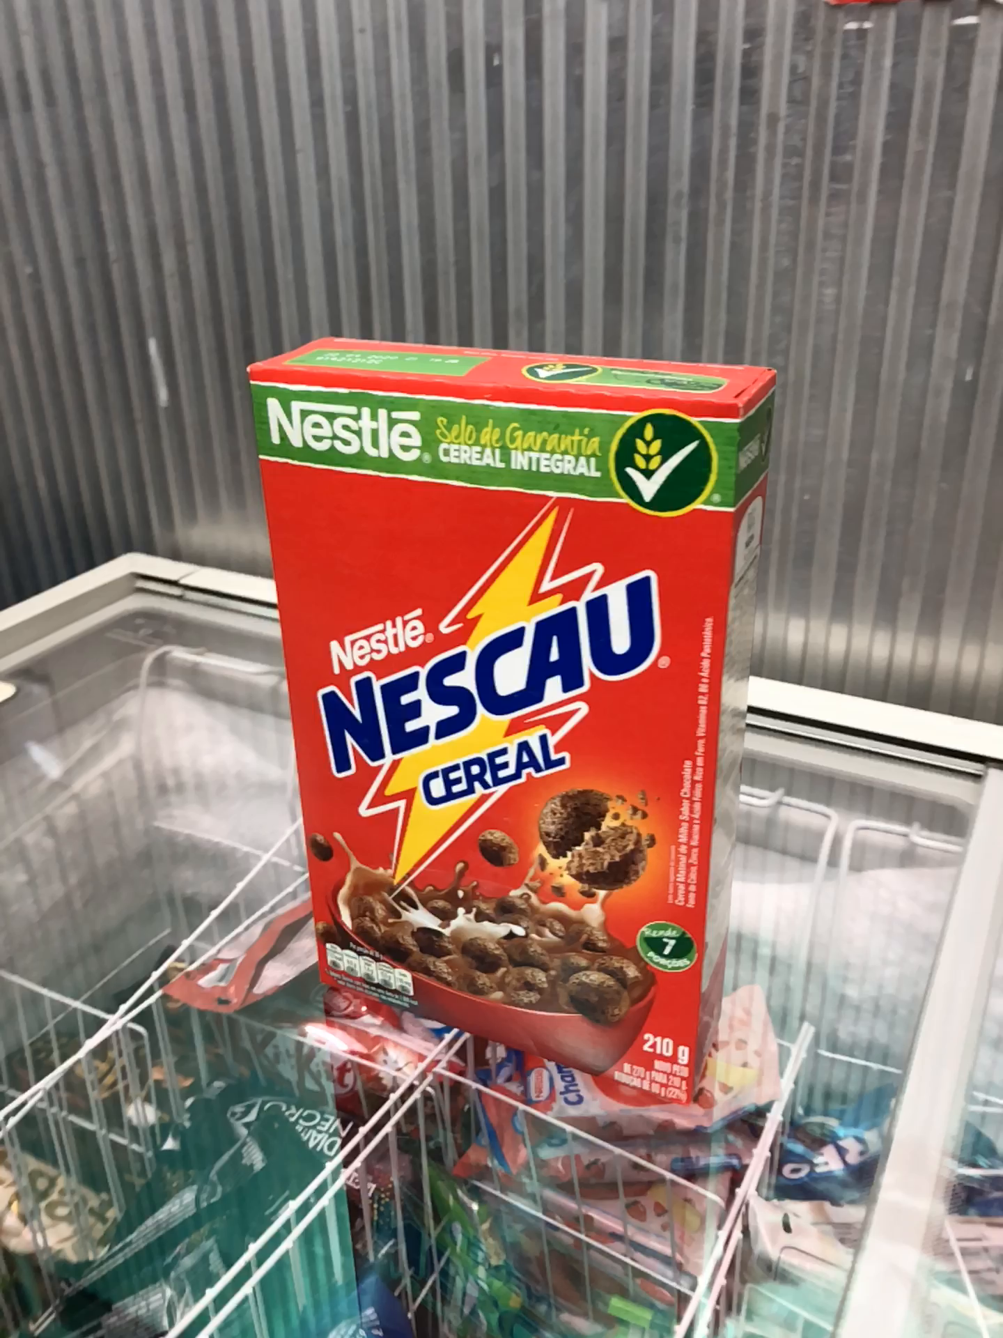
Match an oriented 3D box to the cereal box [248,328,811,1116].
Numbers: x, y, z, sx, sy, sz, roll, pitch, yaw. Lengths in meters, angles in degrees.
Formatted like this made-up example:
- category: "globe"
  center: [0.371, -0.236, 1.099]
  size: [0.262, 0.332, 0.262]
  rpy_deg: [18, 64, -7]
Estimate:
- category: "cereal box"
  center: [0.008, 0.019, 0.401]
  size: [0.170, 0.258, 0.050]
  rpy_deg: [11, 28, 25]
